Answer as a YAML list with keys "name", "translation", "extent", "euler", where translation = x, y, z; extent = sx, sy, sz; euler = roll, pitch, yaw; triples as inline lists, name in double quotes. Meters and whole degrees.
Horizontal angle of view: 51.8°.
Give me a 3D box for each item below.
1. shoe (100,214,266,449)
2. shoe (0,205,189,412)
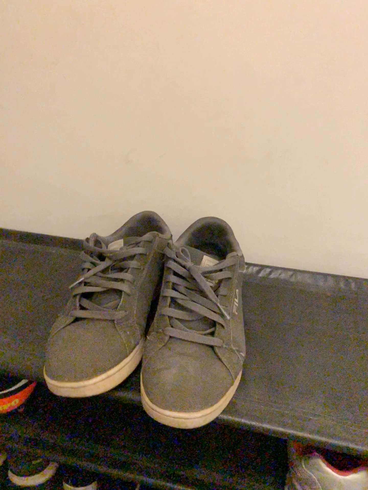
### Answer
- name: "shoe"
  translation: [0.024, 0.069, 0.462]
  extent: [0.120, 0.079, 0.303]
  euler: [6, 32, 14]
- name: "shoe"
  translation: [-0.086, 0.049, 0.465]
  extent: [0.120, 0.079, 0.272]
  euler: [6, 32, 14]
